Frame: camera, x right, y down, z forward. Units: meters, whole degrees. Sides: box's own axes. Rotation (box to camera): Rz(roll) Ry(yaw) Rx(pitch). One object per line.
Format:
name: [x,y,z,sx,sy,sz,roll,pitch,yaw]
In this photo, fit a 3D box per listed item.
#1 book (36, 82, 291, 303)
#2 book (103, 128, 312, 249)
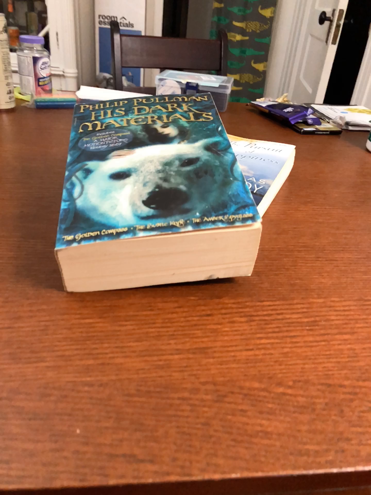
book: [-0.030,-0.071,0.376,0.170,0.060,0.241,-5,45,-8]
book: [0.042,-0.090,0.504,0.170,0.040,0.241,13,34,23]
